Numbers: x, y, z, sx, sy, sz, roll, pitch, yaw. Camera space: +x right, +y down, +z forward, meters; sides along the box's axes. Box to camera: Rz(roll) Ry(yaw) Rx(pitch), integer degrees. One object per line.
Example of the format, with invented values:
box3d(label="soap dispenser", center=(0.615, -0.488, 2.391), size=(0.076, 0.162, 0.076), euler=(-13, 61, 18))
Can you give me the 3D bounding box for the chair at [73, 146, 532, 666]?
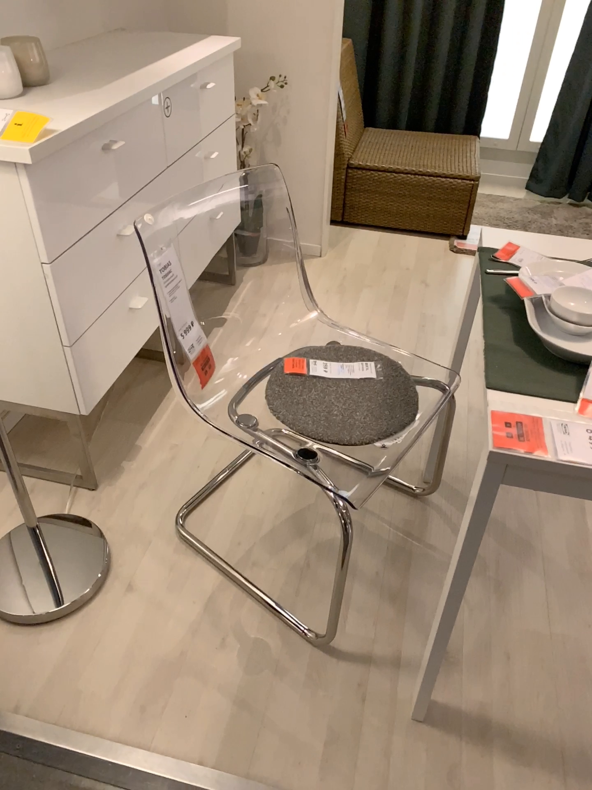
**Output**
box3d(label="chair", center=(0.022, -0.009, 1.326), size=(0.592, 0.791, 0.593), euler=(25, 44, 26))
